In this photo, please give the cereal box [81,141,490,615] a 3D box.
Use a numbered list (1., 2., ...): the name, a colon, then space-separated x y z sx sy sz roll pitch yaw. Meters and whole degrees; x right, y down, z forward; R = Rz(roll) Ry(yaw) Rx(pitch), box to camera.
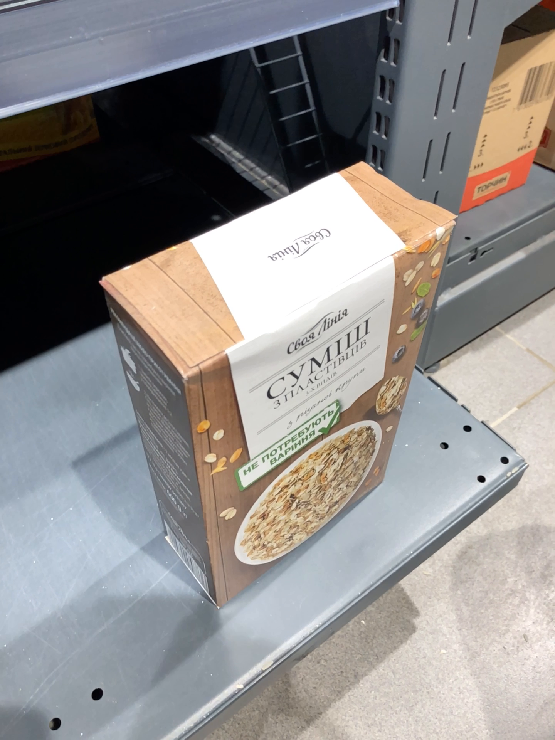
1. cereal box: 0.008 0.015 0.321 0.161 0.208 0.060 -31 56 -25
